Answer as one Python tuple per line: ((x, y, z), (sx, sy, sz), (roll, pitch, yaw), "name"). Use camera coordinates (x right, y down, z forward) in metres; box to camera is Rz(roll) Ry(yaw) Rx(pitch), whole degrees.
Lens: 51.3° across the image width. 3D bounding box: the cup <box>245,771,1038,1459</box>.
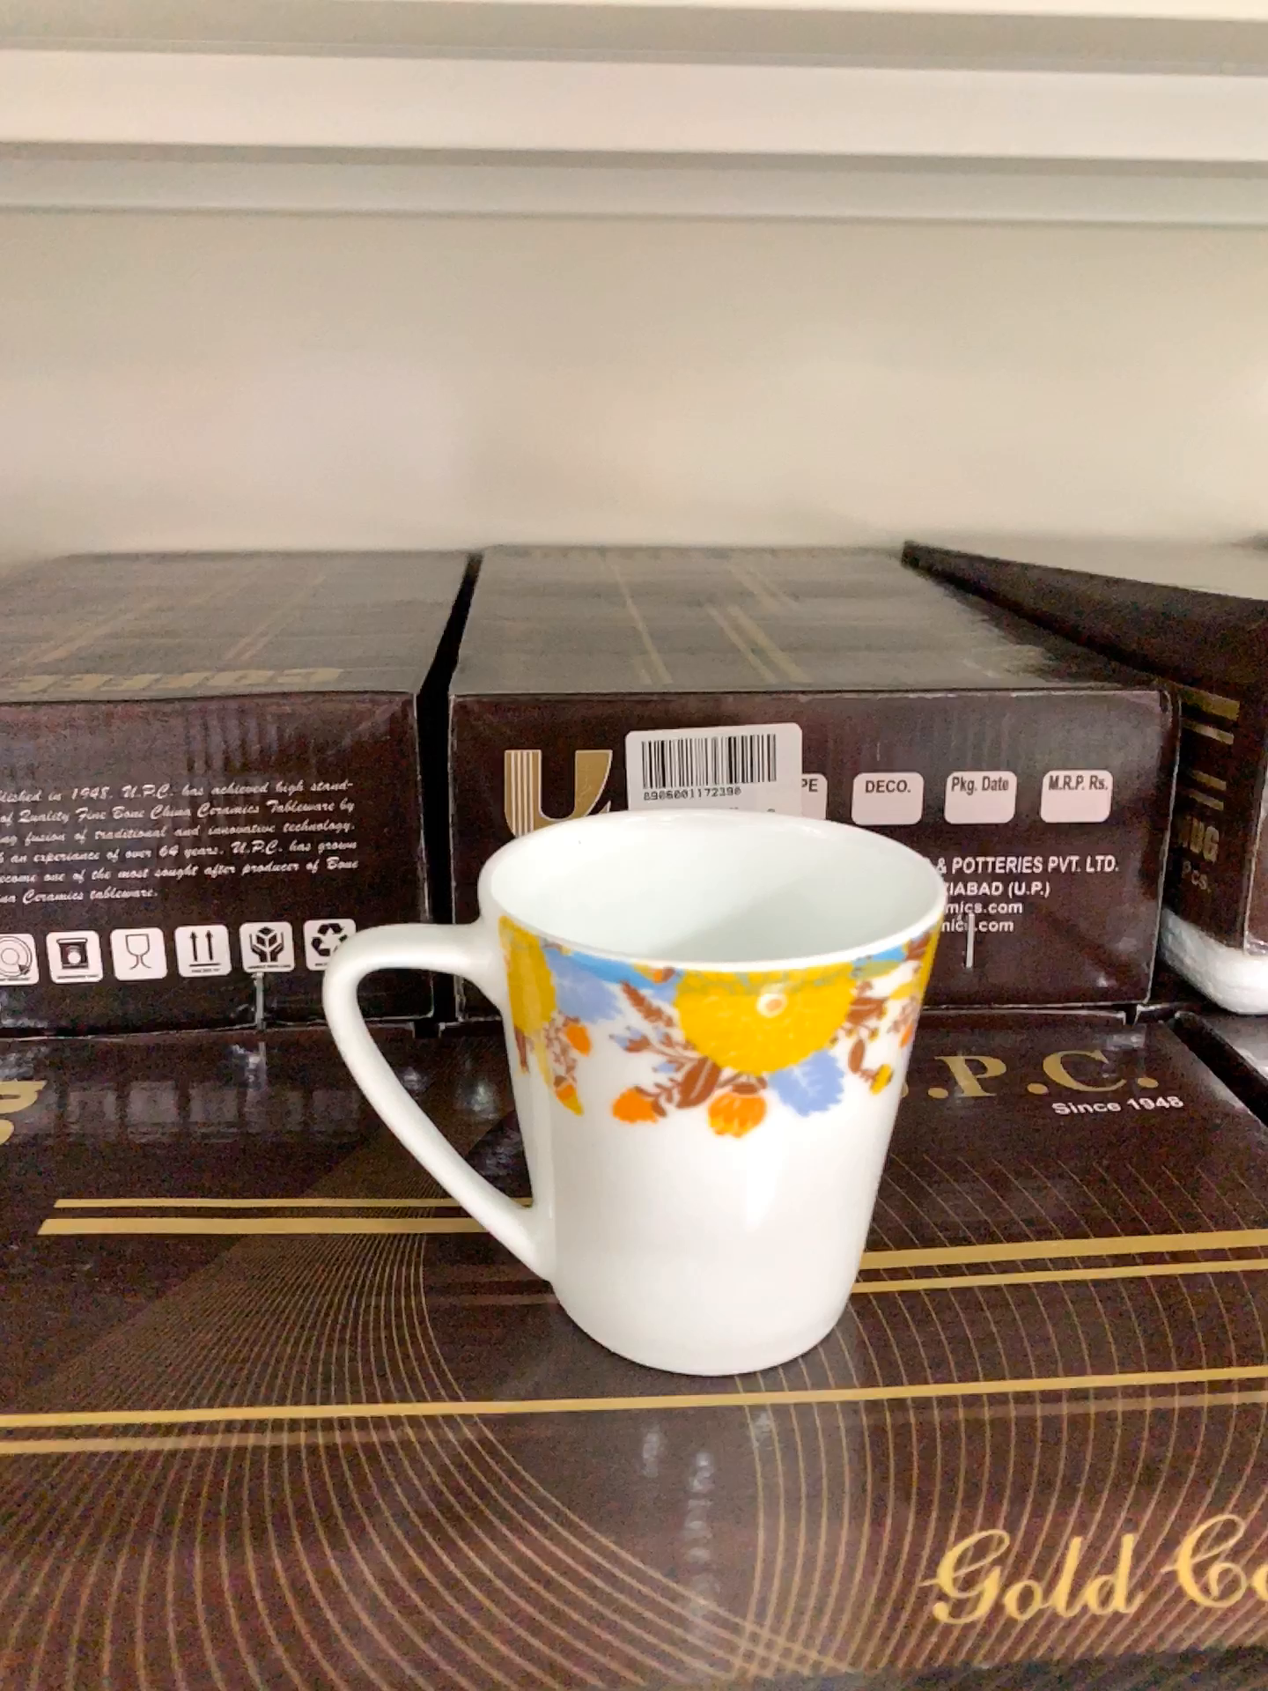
((-0.001, 0.033, 0.193), (0.090, 0.070, 0.070), (-1, 18, -4), "cup")
